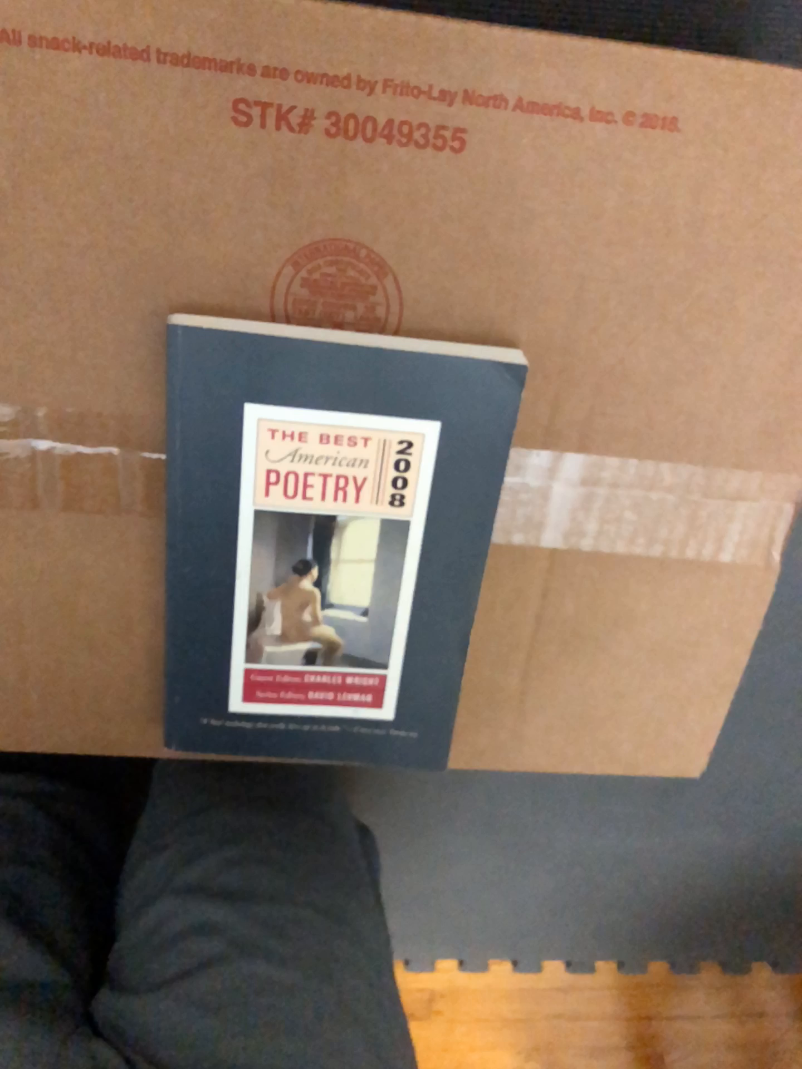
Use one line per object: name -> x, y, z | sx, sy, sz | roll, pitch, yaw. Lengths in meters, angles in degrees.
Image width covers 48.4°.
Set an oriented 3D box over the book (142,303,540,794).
book -> -0.033, 0.021, 0.399 | 0.150, 0.020, 0.230 | 4, 118, -6
